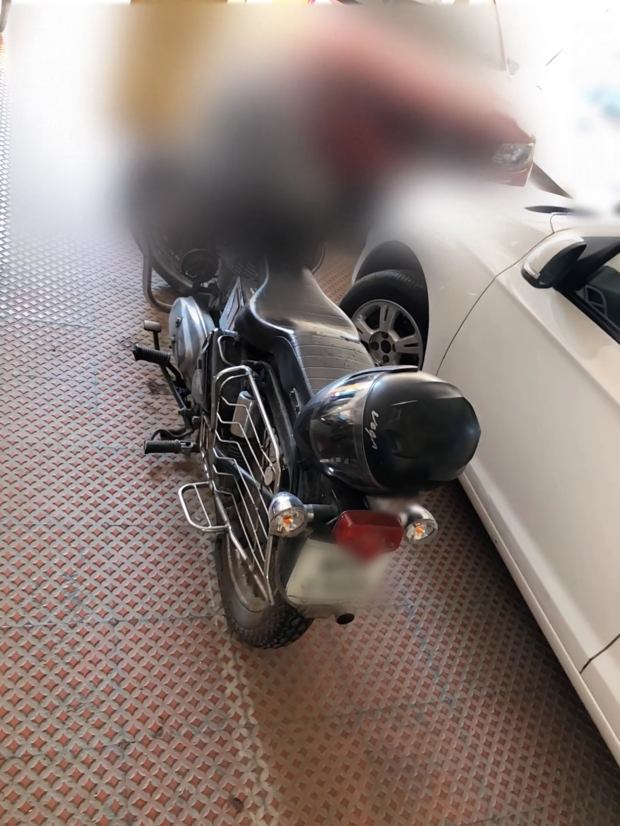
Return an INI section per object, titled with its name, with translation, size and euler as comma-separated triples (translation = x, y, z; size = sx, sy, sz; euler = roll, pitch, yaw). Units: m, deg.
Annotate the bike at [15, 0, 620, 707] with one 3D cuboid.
[bike]
translation = -0.282, -0.361, 1.923
size = 0.693, 1.217, 1.789
euler = 0, 47, -31
